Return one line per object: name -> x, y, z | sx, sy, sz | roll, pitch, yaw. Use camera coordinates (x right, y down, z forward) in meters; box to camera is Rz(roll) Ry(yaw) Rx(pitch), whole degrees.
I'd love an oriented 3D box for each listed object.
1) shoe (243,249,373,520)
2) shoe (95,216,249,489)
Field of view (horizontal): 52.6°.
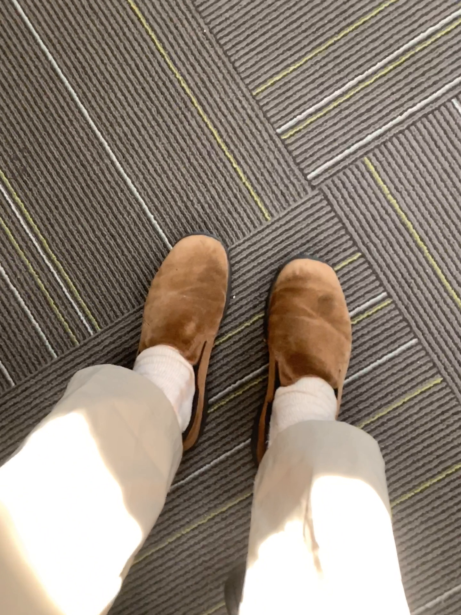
shoe -> 0.093, 0.089, 0.585 | 0.120, 0.077, 0.307 | 6, 92, 5
shoe -> -0.070, 0.053, 0.595 | 0.119, 0.077, 0.307 | 13, 93, 5
